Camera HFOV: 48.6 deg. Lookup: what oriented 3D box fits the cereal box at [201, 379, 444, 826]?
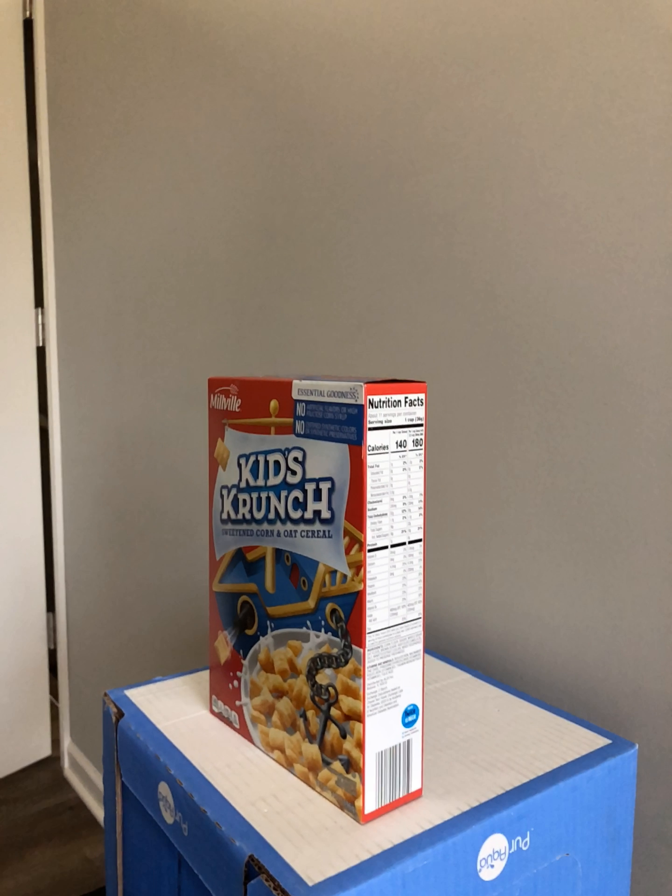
[{"bbox_3d":[-0.021,0.086,0.544,0.060,0.270,0.210,-4,7,-37],"label":"cereal box"}]
